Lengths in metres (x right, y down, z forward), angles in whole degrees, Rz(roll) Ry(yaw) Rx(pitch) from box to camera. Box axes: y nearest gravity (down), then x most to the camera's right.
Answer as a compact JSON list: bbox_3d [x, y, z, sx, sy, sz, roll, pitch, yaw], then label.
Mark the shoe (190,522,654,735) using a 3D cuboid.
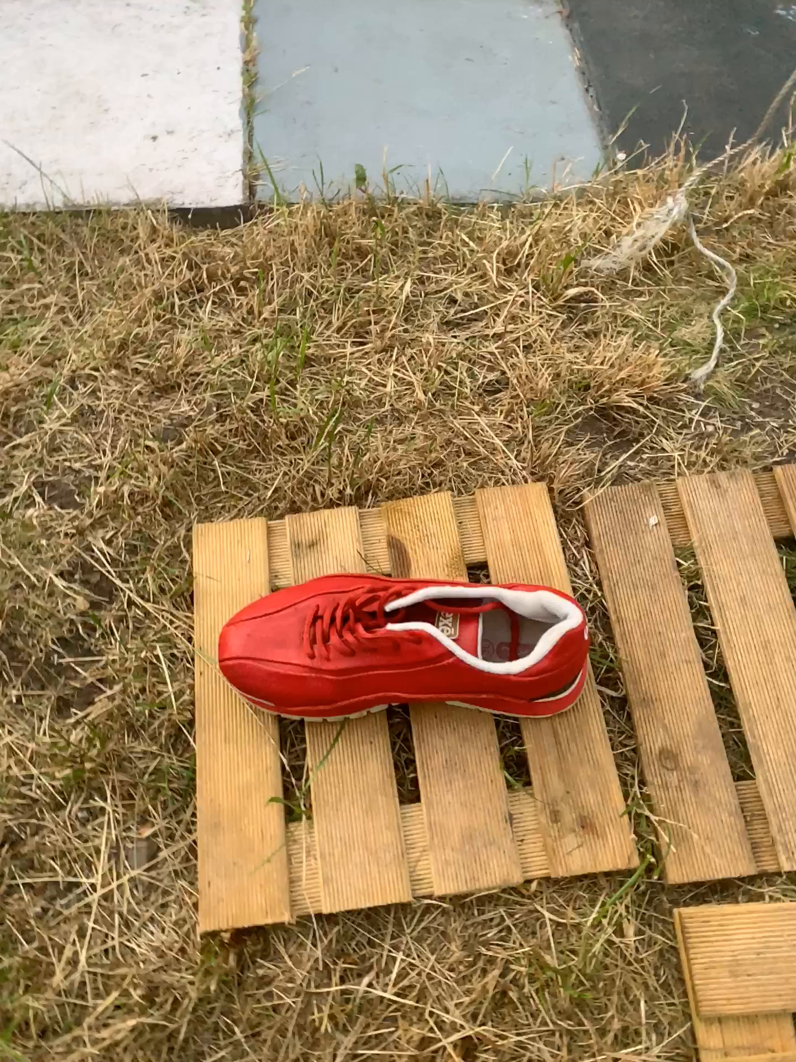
[{"bbox_3d":[0.013,0.074,0.567,0.280,0.129,0.101,3,63,-3],"label":"shoe"}]
